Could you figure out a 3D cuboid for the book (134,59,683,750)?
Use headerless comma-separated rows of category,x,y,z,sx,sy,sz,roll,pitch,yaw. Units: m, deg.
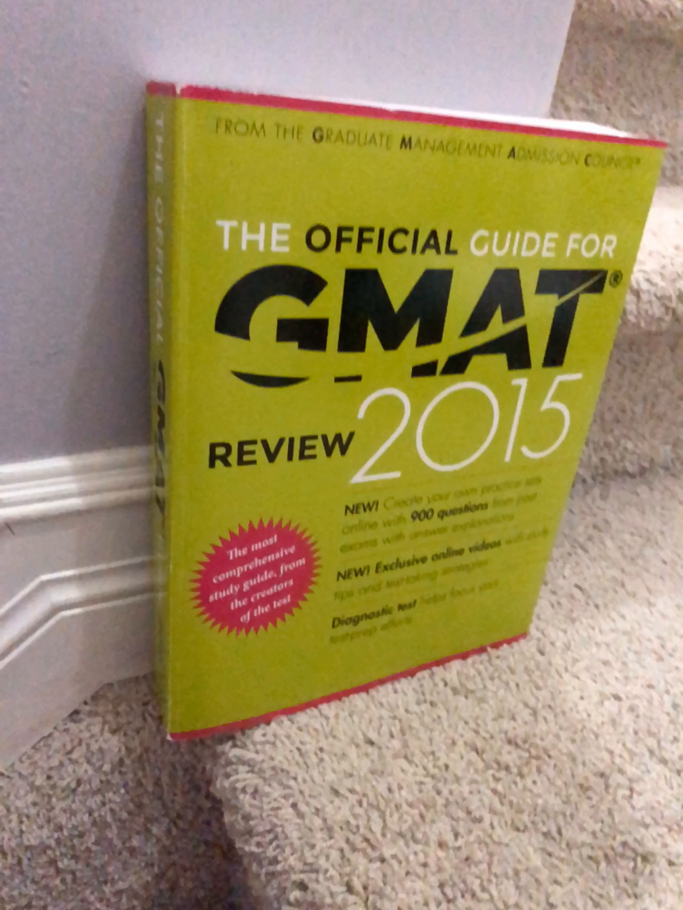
book,0.030,-0.017,0.355,0.236,0.277,0.040,-8,27,-27
